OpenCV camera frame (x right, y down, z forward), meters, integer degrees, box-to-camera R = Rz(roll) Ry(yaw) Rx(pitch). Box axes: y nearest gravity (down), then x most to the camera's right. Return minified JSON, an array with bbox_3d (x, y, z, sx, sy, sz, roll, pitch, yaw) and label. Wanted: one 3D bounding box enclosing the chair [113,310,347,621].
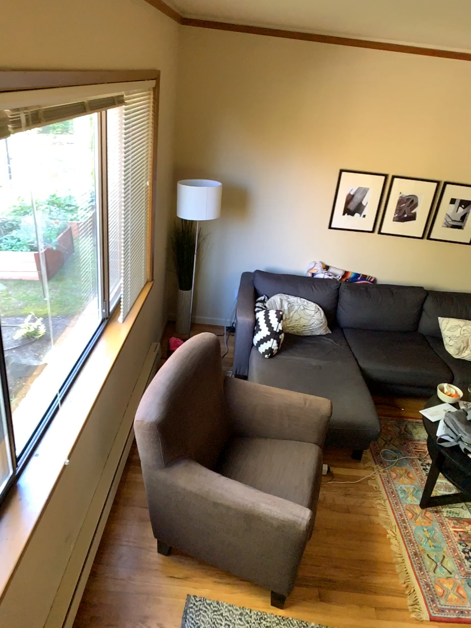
[{"bbox_3d":[0.024,0.618,2.257,0.800,0.876,0.884,10,26,12],"label":"chair"}]
